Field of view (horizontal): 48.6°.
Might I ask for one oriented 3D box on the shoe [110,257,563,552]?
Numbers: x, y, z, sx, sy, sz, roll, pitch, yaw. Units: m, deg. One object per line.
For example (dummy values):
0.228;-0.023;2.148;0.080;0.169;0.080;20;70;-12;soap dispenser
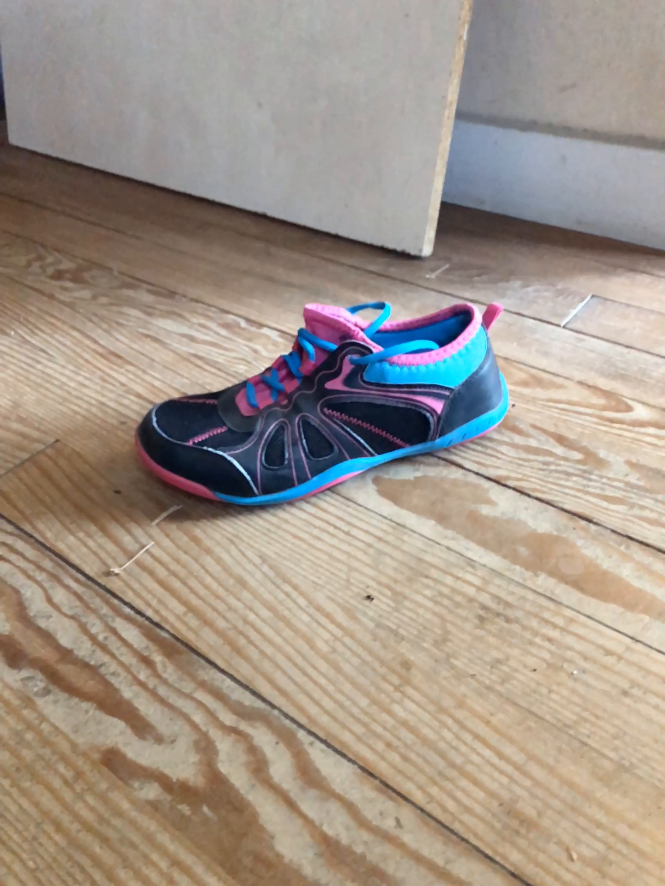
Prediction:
0.000;-0.033;0.488;0.260;0.099;0.110;-13;40;-13;shoe
